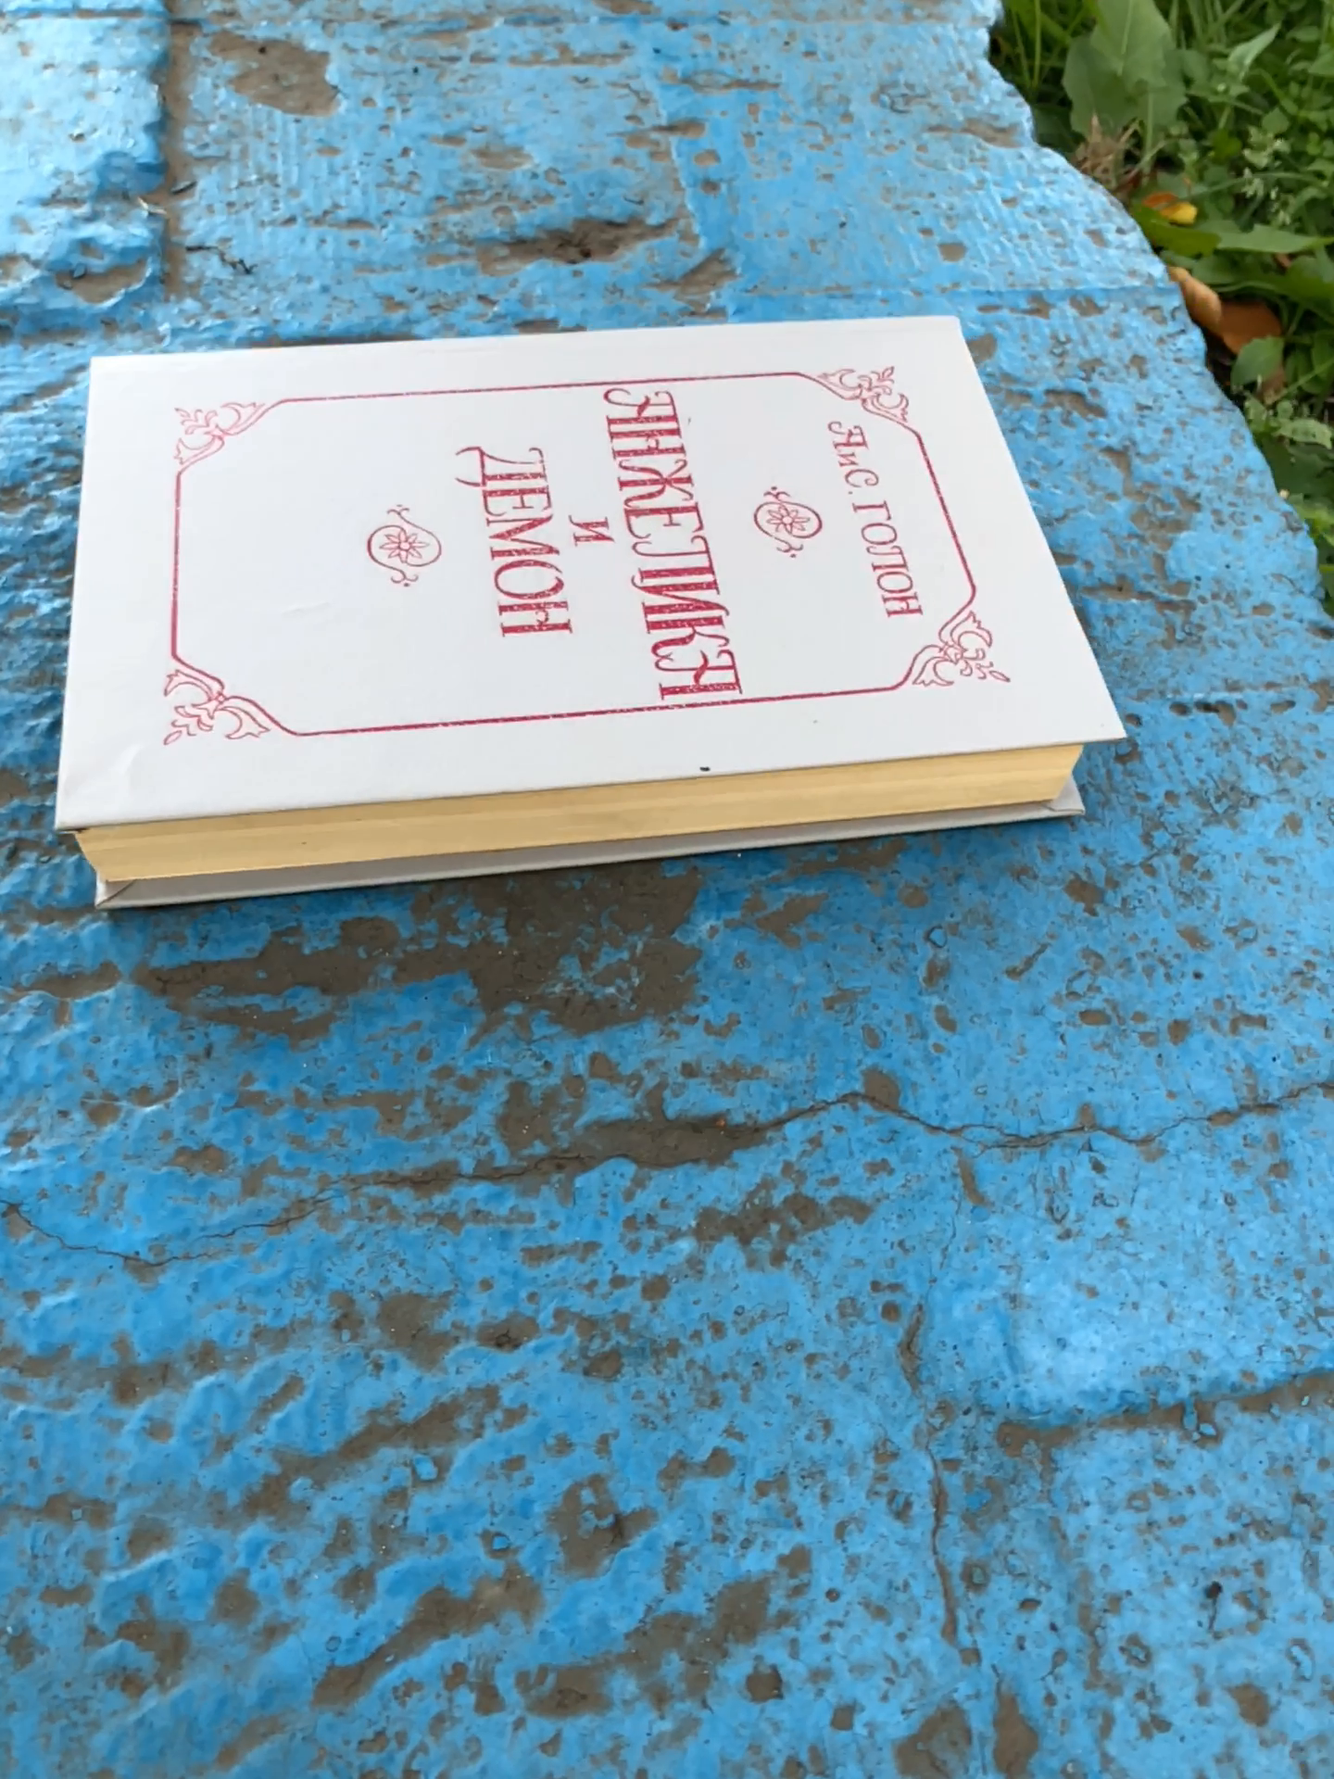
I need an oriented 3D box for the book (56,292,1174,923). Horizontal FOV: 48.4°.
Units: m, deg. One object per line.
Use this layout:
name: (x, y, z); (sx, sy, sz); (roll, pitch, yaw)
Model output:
book: (-0.016, -0.070, 0.329); (0.211, 0.032, 0.140); (-5, 57, -7)
